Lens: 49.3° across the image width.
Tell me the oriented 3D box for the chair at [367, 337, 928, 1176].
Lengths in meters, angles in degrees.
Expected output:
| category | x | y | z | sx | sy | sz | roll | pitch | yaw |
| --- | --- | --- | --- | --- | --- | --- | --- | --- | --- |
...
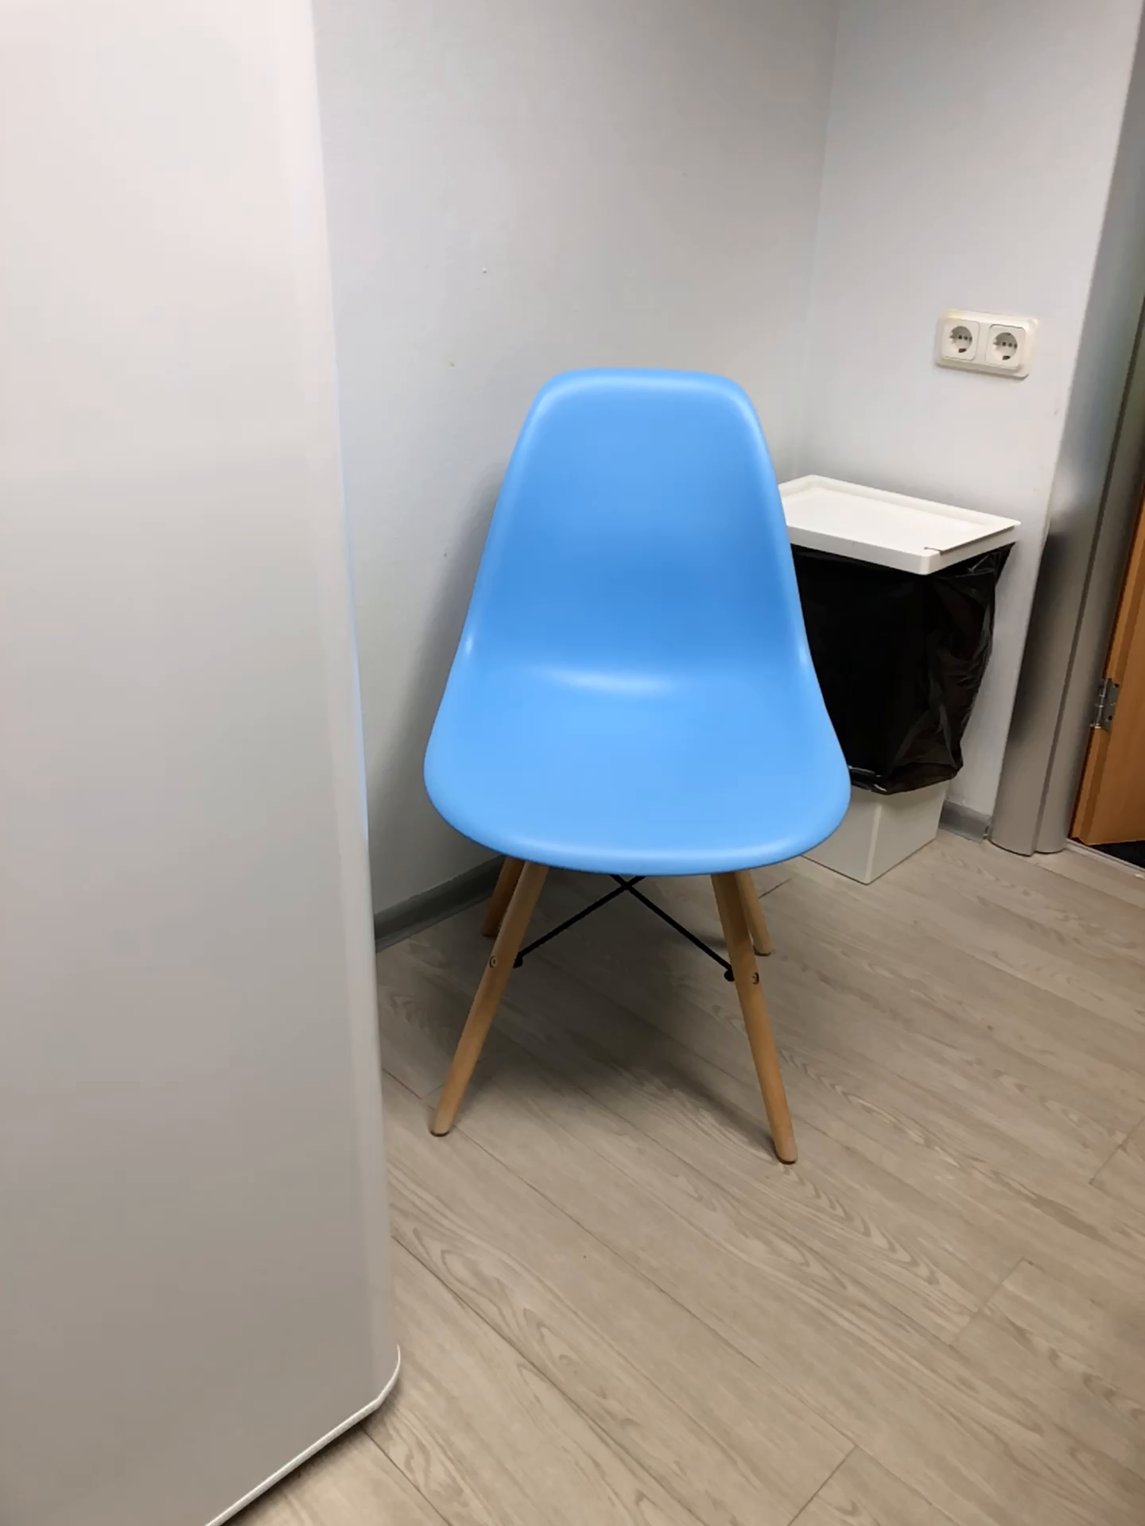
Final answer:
| category | x | y | z | sx | sy | sz | roll | pitch | yaw |
| --- | --- | --- | --- | --- | --- | --- | --- | --- | --- |
| chair | 0.077 | -0.038 | 1.428 | 0.460 | 0.775 | 0.533 | 4 | 26 | 5 |
